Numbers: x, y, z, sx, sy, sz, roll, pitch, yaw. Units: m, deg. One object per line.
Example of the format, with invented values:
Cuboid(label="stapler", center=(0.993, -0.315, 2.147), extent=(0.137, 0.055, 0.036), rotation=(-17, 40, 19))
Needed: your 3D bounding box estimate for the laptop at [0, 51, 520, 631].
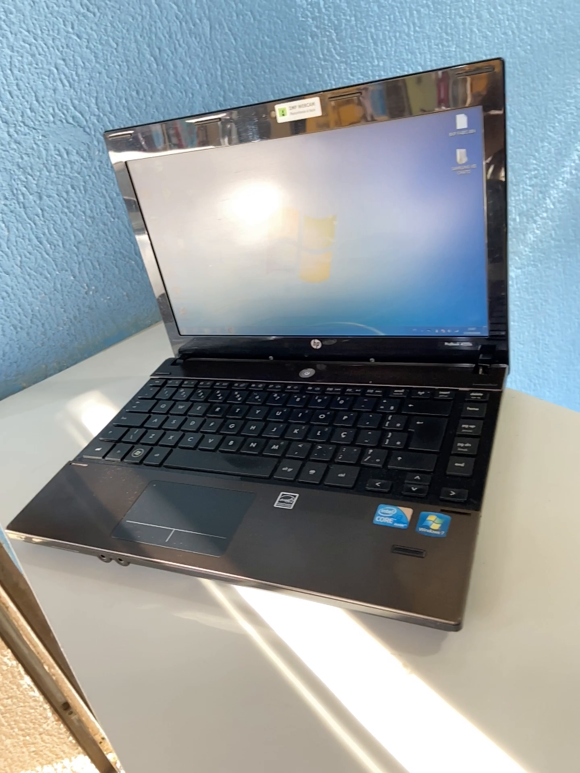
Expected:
Cuboid(label="laptop", center=(-0.036, -0.050, 0.402), extent=(0.322, 0.207, 0.260), rotation=(2, 36, 27))
